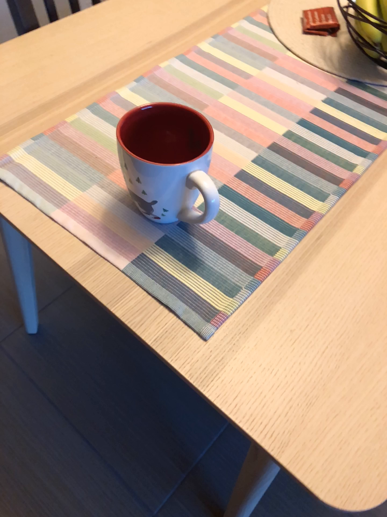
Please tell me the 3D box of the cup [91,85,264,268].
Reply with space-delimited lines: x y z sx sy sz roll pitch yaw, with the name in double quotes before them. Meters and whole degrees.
"cup" -0.020 -0.087 0.437 0.100 0.090 0.140 -29 61 -23
